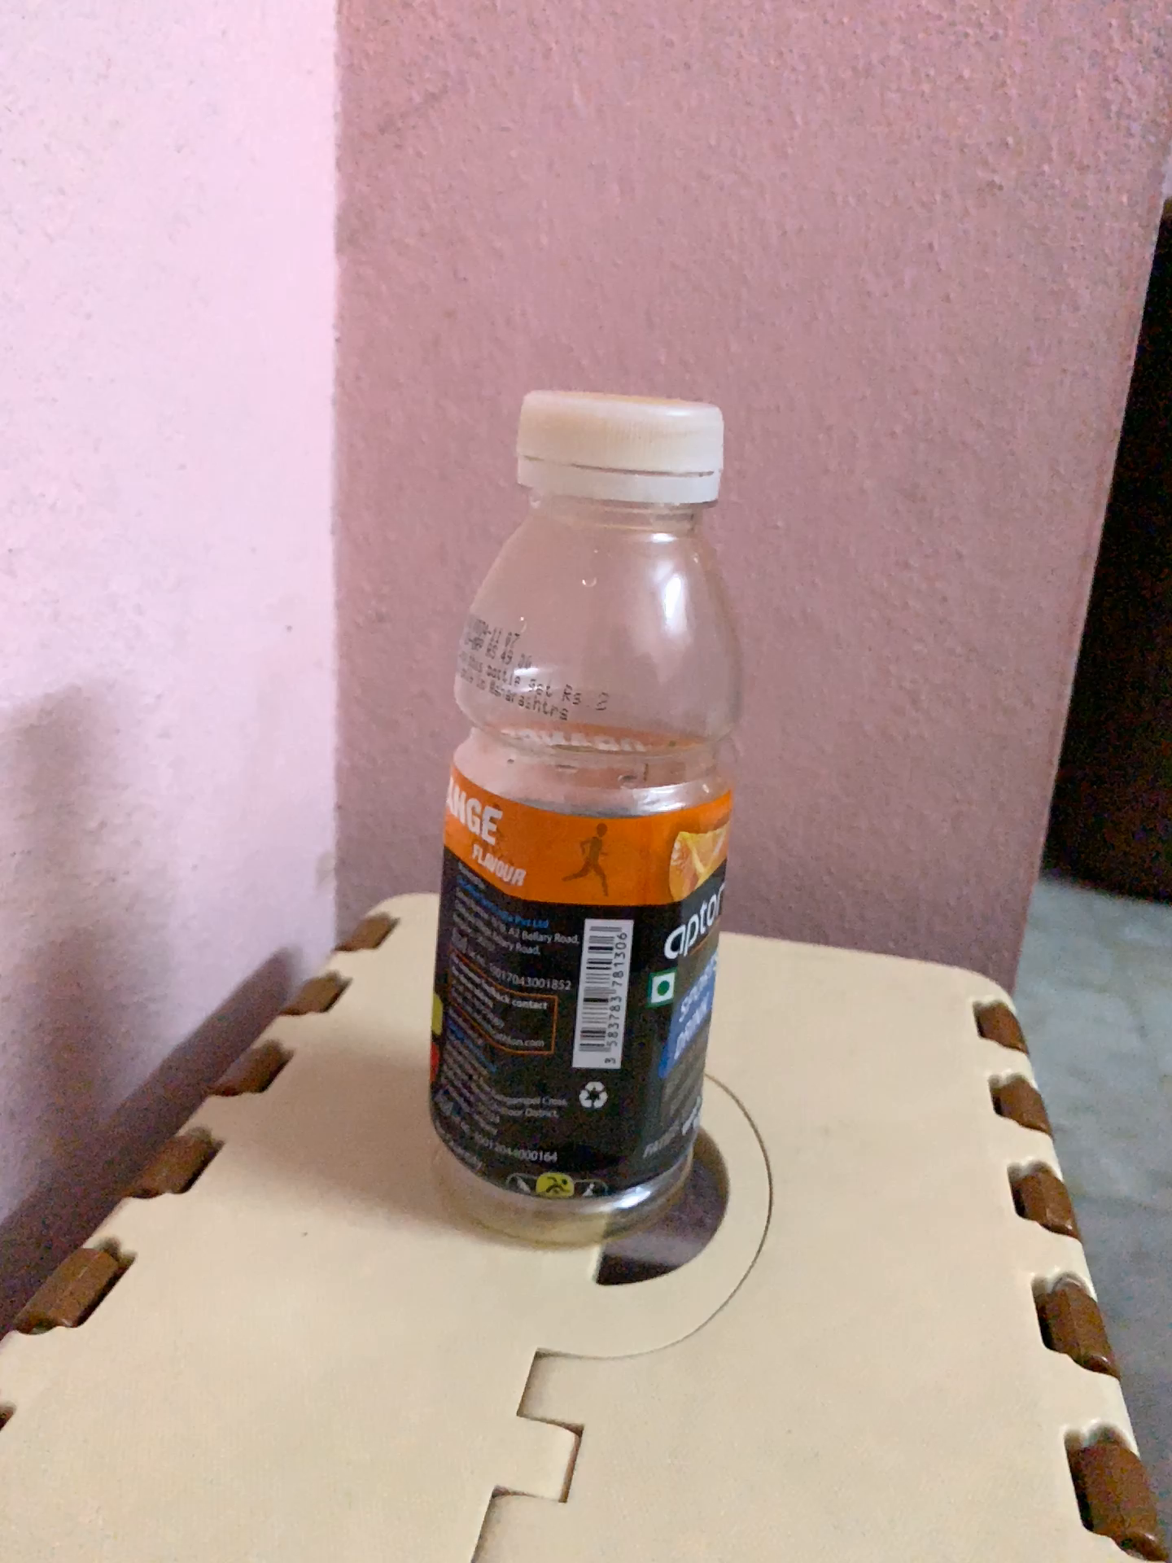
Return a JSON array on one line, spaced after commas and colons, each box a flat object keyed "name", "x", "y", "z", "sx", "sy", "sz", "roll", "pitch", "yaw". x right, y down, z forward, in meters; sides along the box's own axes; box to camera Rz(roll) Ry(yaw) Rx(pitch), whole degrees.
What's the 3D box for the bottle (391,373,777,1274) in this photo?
[{"name": "bottle", "x": -0.001, "y": 0.006, "z": 0.270, "sx": 0.060, "sy": 0.179, "sz": 0.070, "roll": 8, "pitch": 19, "yaw": 12}]
